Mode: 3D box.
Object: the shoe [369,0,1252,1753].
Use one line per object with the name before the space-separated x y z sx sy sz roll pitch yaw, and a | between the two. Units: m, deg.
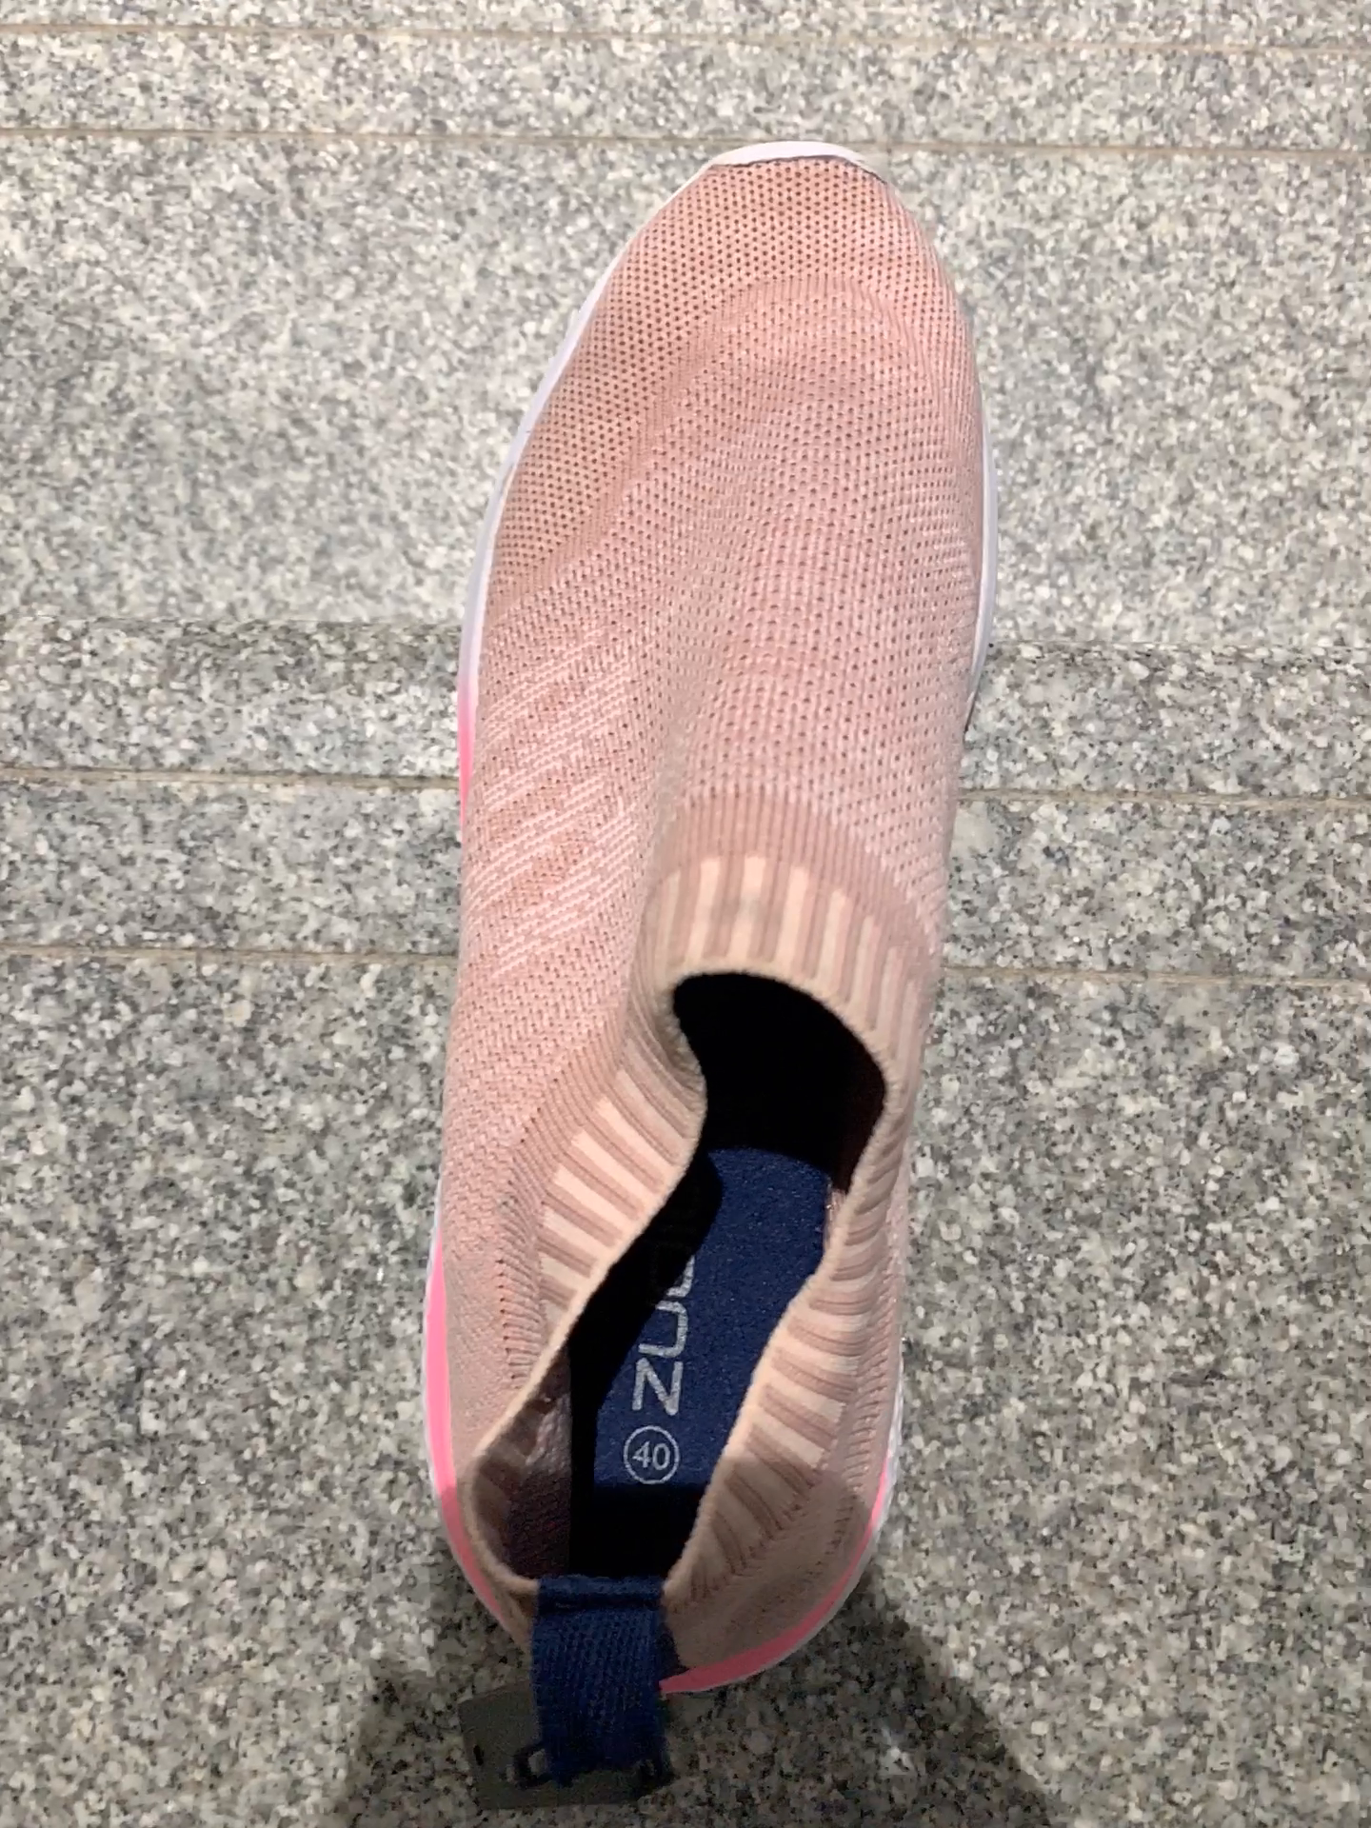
shoe | 0.021 -0.013 0.242 0.100 0.080 0.250 6 85 1
